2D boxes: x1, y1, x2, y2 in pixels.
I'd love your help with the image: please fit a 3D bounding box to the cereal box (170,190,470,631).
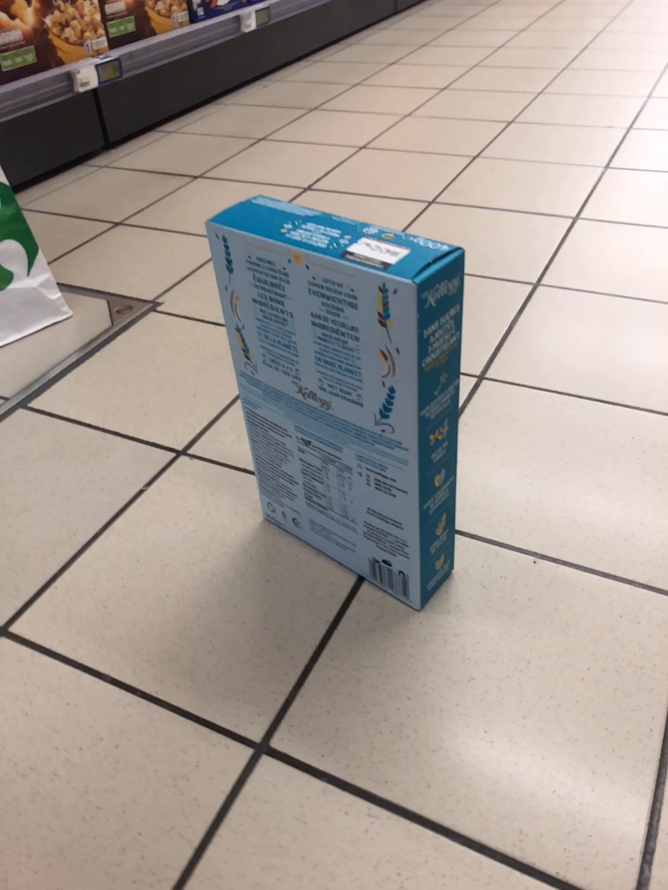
[{"bbox_3d":[-0.005,-0.016,0.451,0.160,0.239,0.050,24,46,32],"label":"cereal box"}]
